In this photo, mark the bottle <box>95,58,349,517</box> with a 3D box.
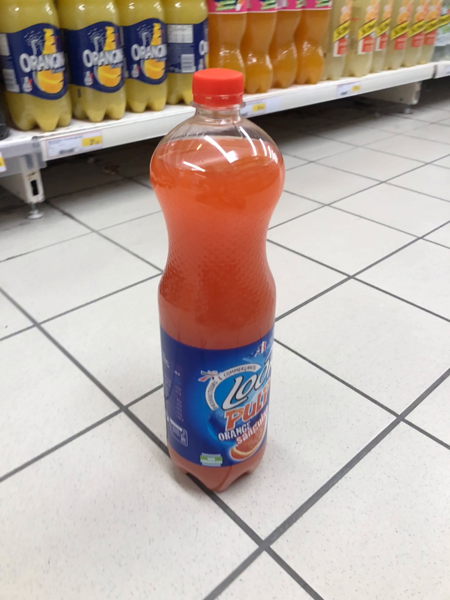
[{"bbox_3d":[-0.004,-0.001,0.368,0.110,0.308,0.100,-21,37,-31],"label":"bottle"}]
